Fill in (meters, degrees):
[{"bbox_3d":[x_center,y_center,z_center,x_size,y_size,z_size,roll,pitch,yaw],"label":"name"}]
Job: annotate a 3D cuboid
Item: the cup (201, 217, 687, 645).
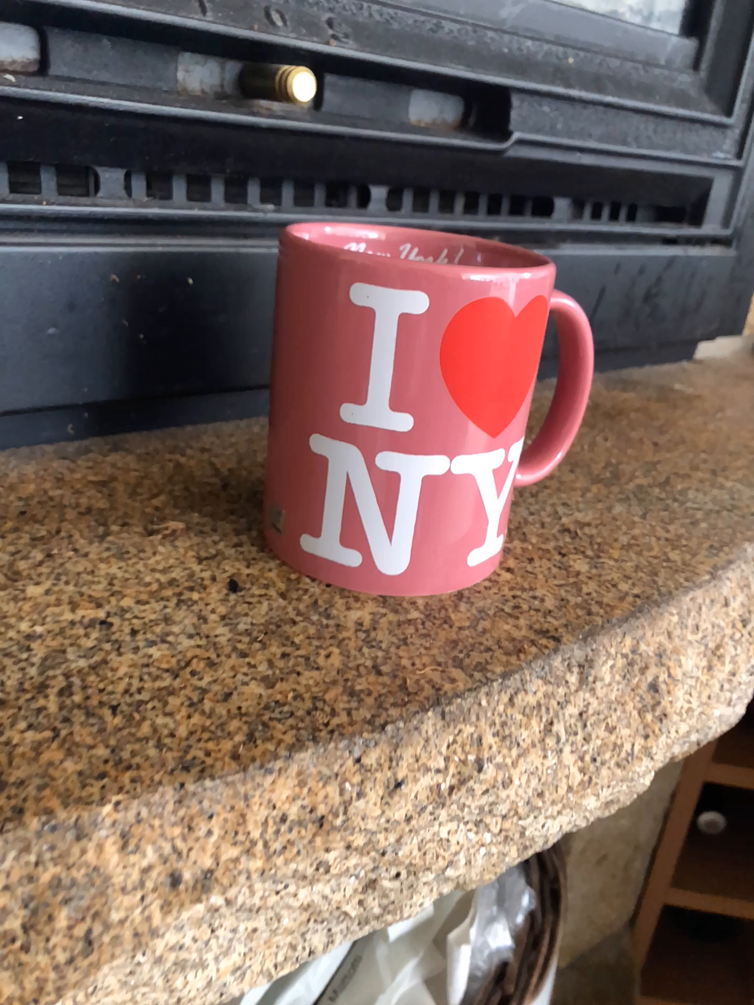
[{"bbox_3d":[0.019,-0.035,0.280,0.121,0.099,0.090,-14,31,-40],"label":"cup"}]
